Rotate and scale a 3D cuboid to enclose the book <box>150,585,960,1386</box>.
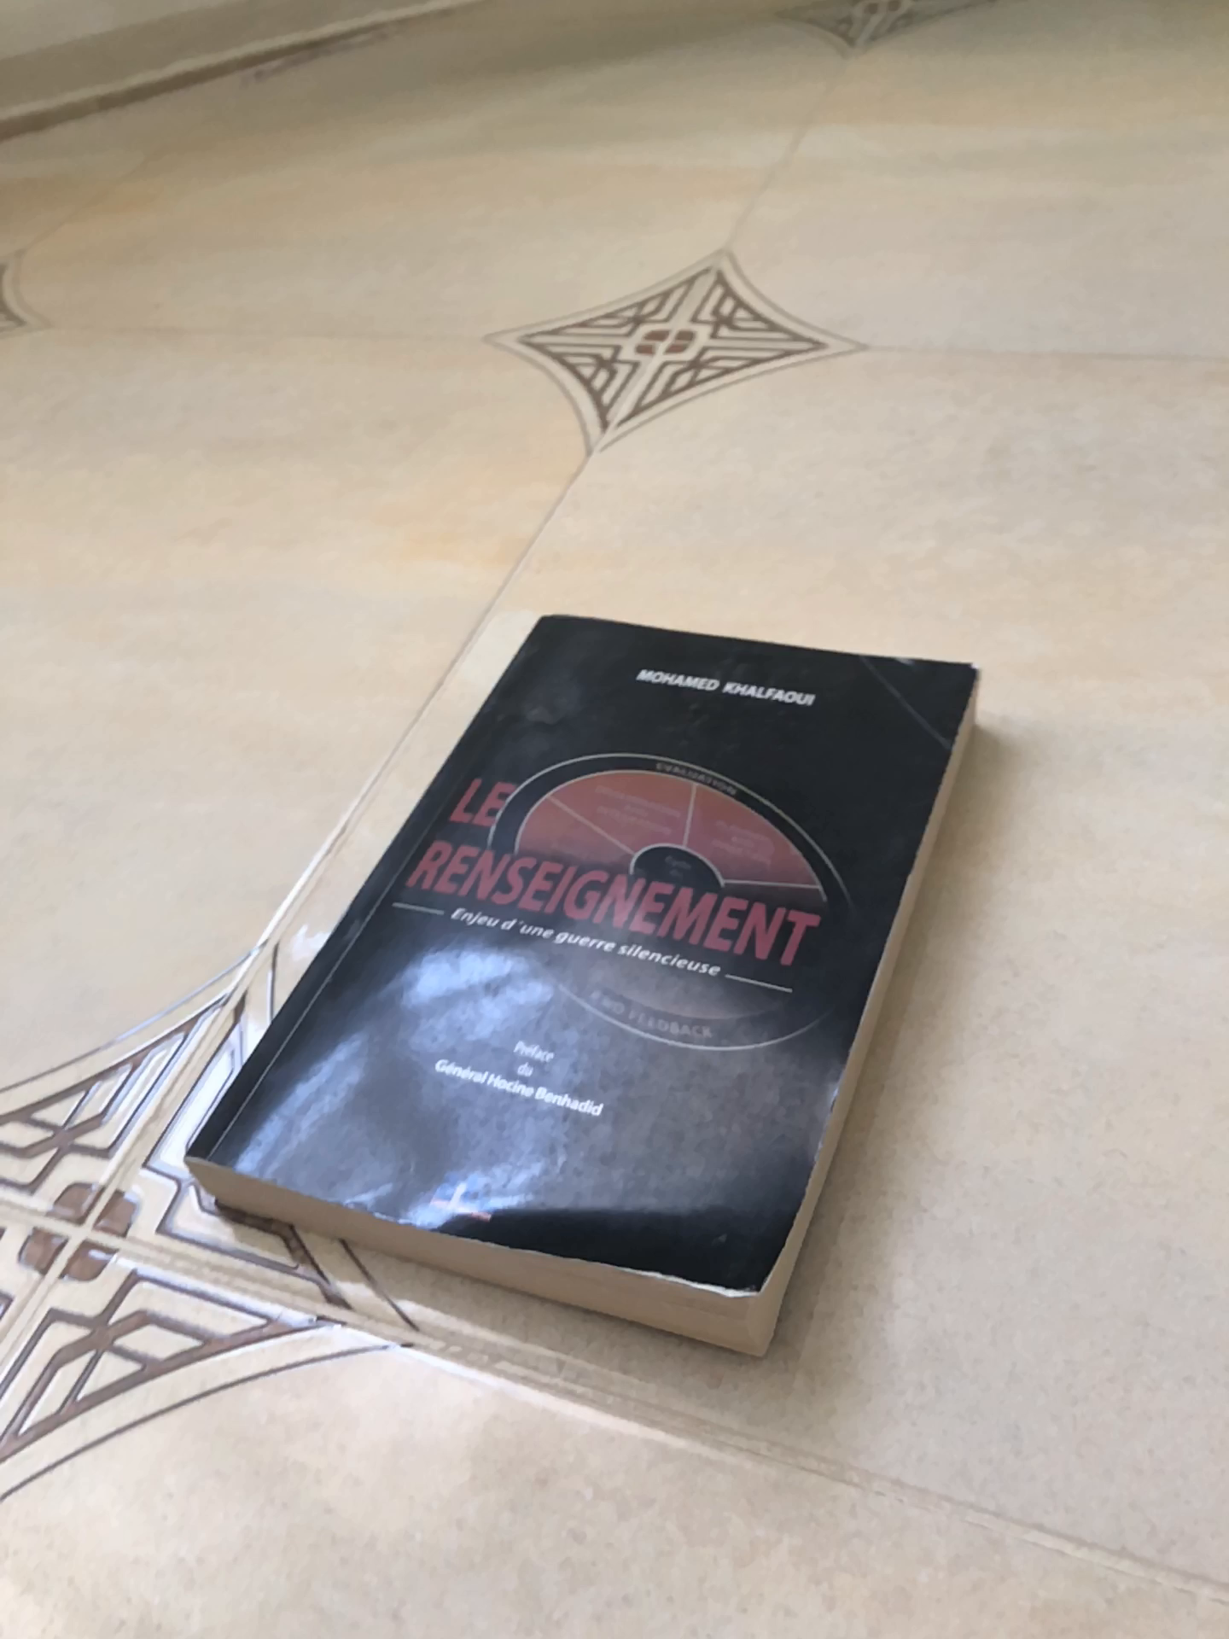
[{"bbox_3d":[-0.002,0.023,0.362,0.146,0.036,0.201,10,51,19],"label":"book"}]
